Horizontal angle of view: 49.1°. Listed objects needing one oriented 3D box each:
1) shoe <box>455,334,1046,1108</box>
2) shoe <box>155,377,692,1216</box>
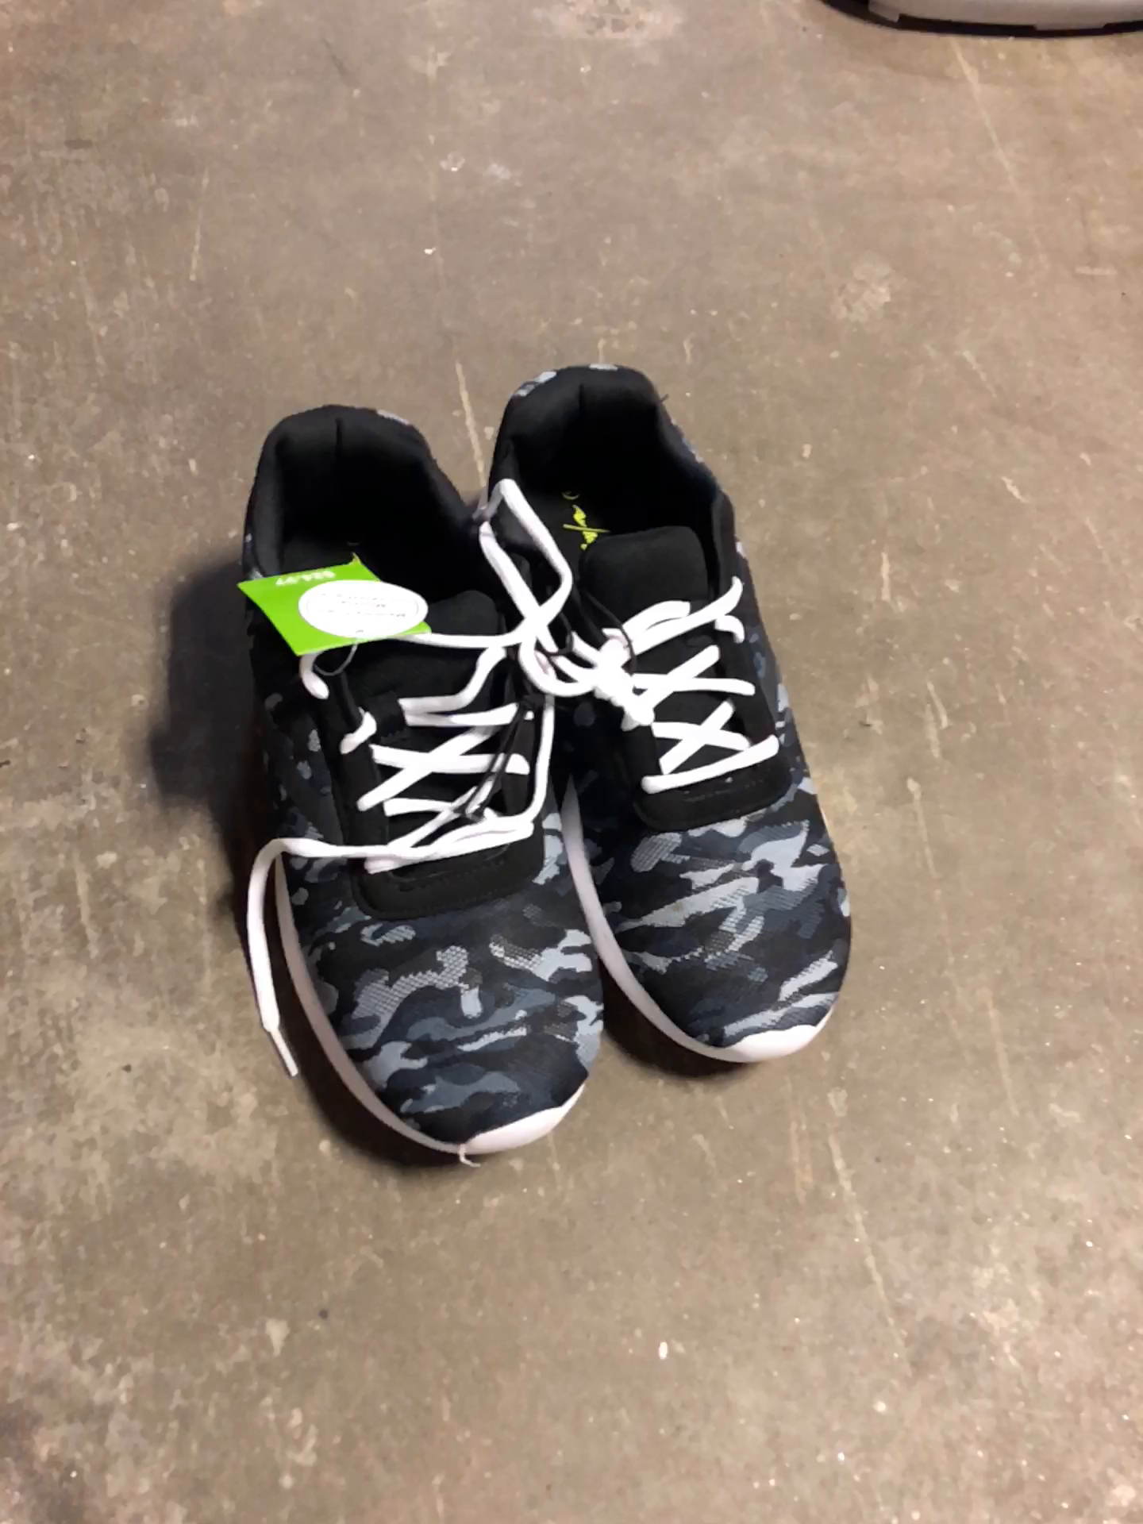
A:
[{"bbox_3d":[0.047,-0.022,0.505,0.120,0.139,0.261,-13,60,-14],"label":"shoe"},{"bbox_3d":[-0.065,0.007,0.467,0.110,0.139,0.261,-13,60,-14],"label":"shoe"}]
